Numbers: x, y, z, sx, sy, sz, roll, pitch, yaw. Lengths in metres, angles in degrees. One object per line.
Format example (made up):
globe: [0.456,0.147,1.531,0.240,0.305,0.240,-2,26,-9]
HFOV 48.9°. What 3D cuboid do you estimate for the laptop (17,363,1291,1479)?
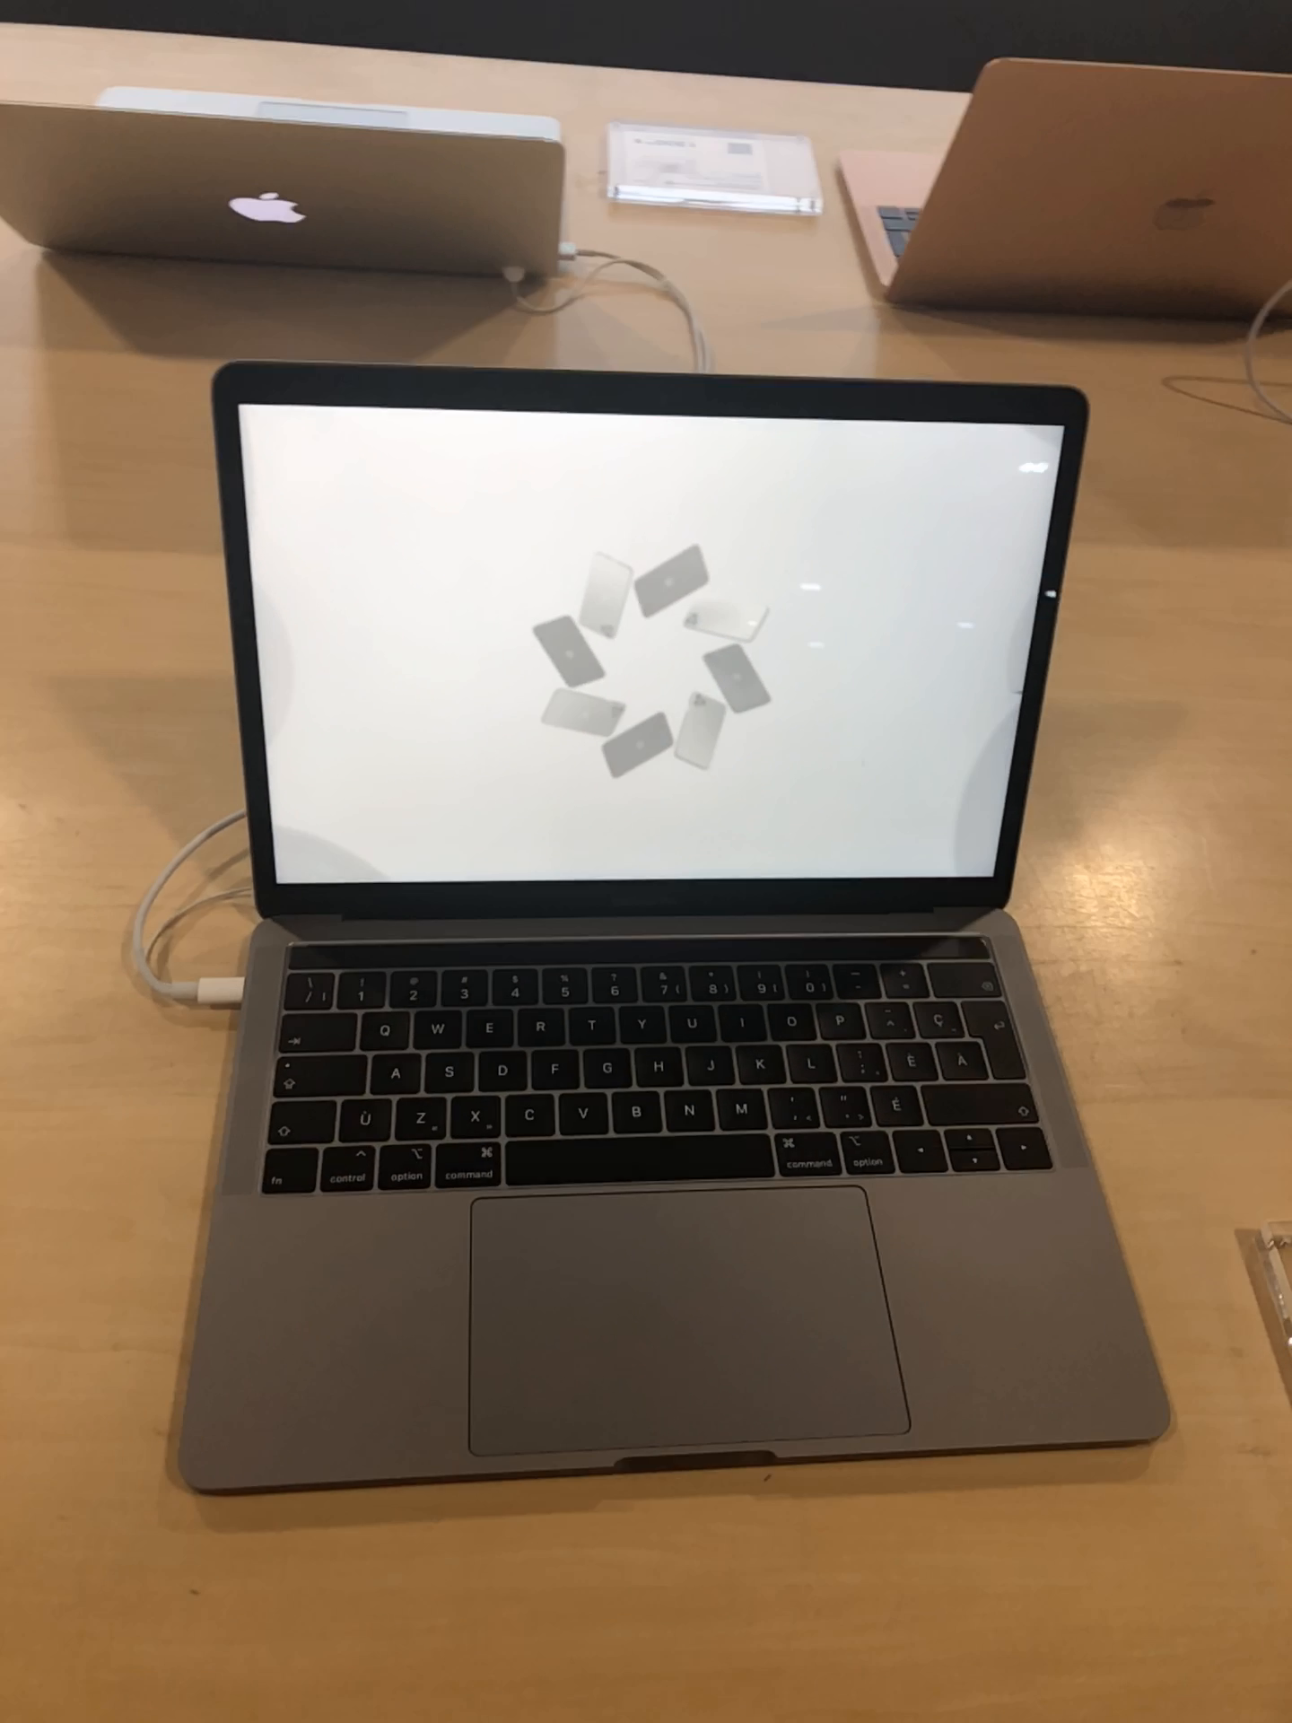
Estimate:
laptop: [0.006,0.008,0.453,0.296,0.181,0.296,0,48,-7]
